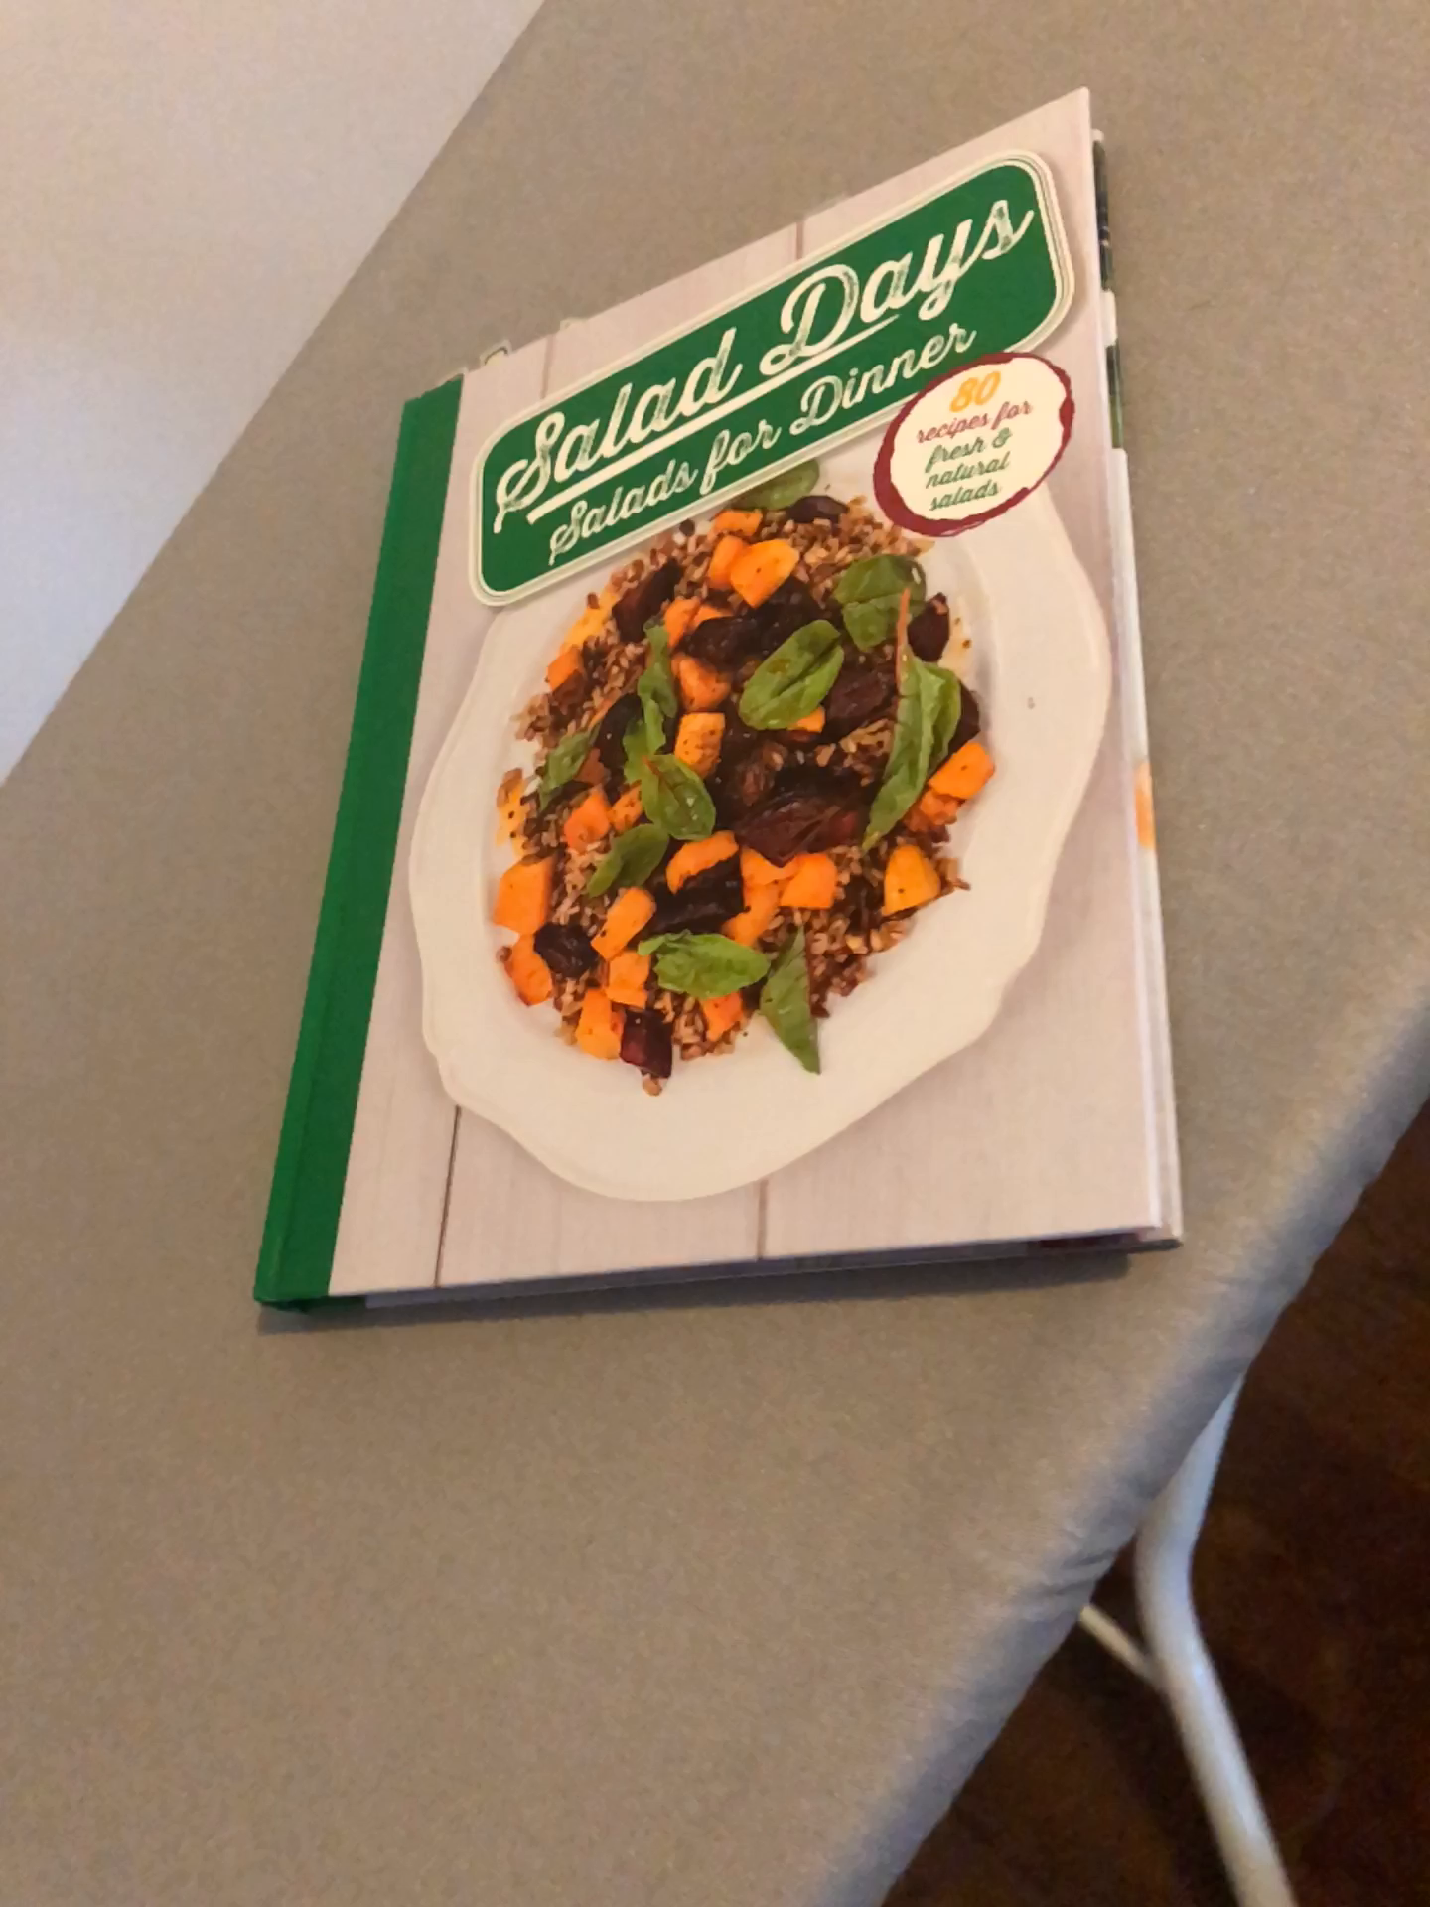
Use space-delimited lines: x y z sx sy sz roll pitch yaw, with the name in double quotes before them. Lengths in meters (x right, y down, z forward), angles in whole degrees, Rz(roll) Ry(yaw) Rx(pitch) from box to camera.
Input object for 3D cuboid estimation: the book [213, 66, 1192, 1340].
"book" -0.009 -0.056 0.368 0.214 0.020 0.275 -11 62 30
